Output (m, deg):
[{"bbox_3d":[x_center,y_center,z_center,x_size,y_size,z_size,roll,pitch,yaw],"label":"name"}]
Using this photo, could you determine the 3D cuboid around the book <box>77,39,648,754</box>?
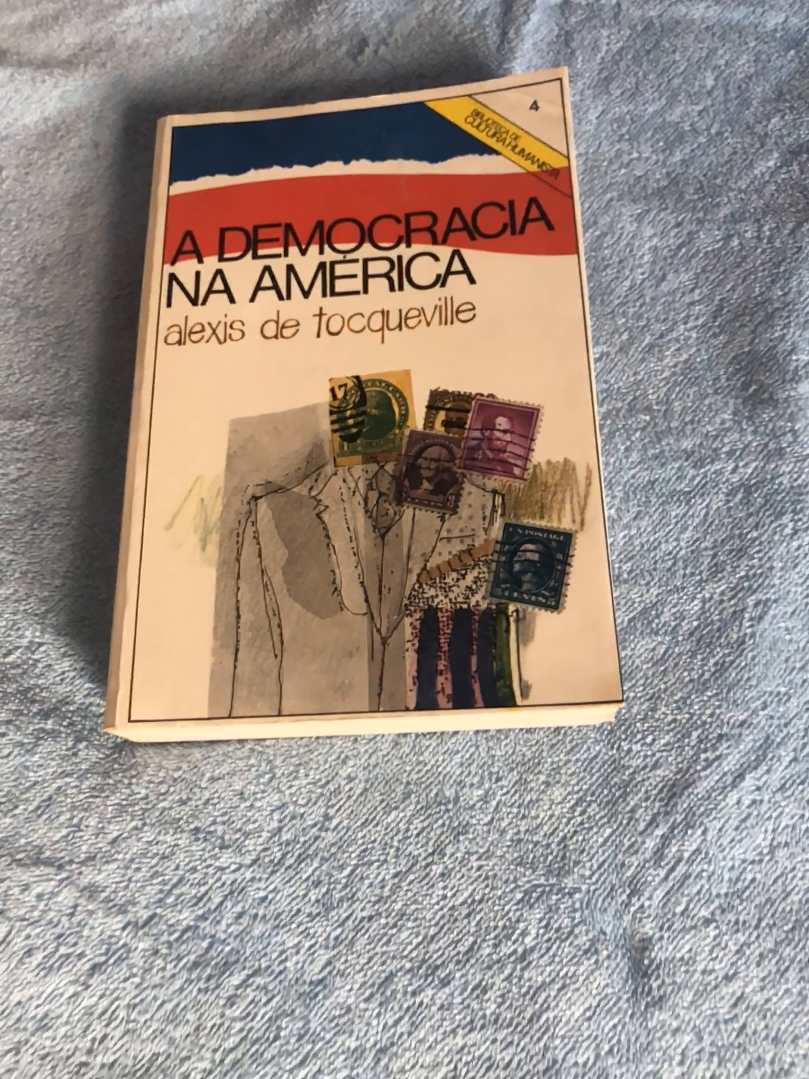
[{"bbox_3d":[-0.012,-0.041,0.270,0.140,0.050,0.200,-3,75,5],"label":"book"}]
